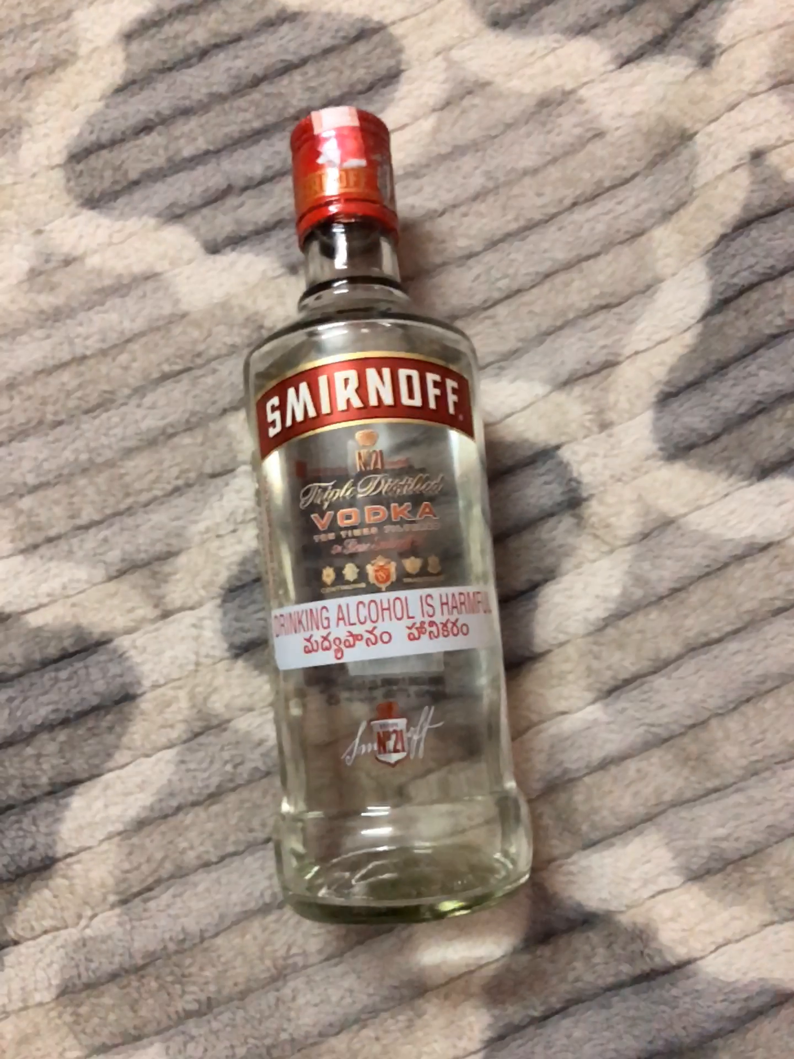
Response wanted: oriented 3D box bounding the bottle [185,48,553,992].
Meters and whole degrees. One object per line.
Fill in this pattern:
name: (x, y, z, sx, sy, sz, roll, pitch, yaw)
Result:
bottle: (-0.012, -0.009, 0.246, 0.070, 0.060, 0.230, -5, 79, -4)
